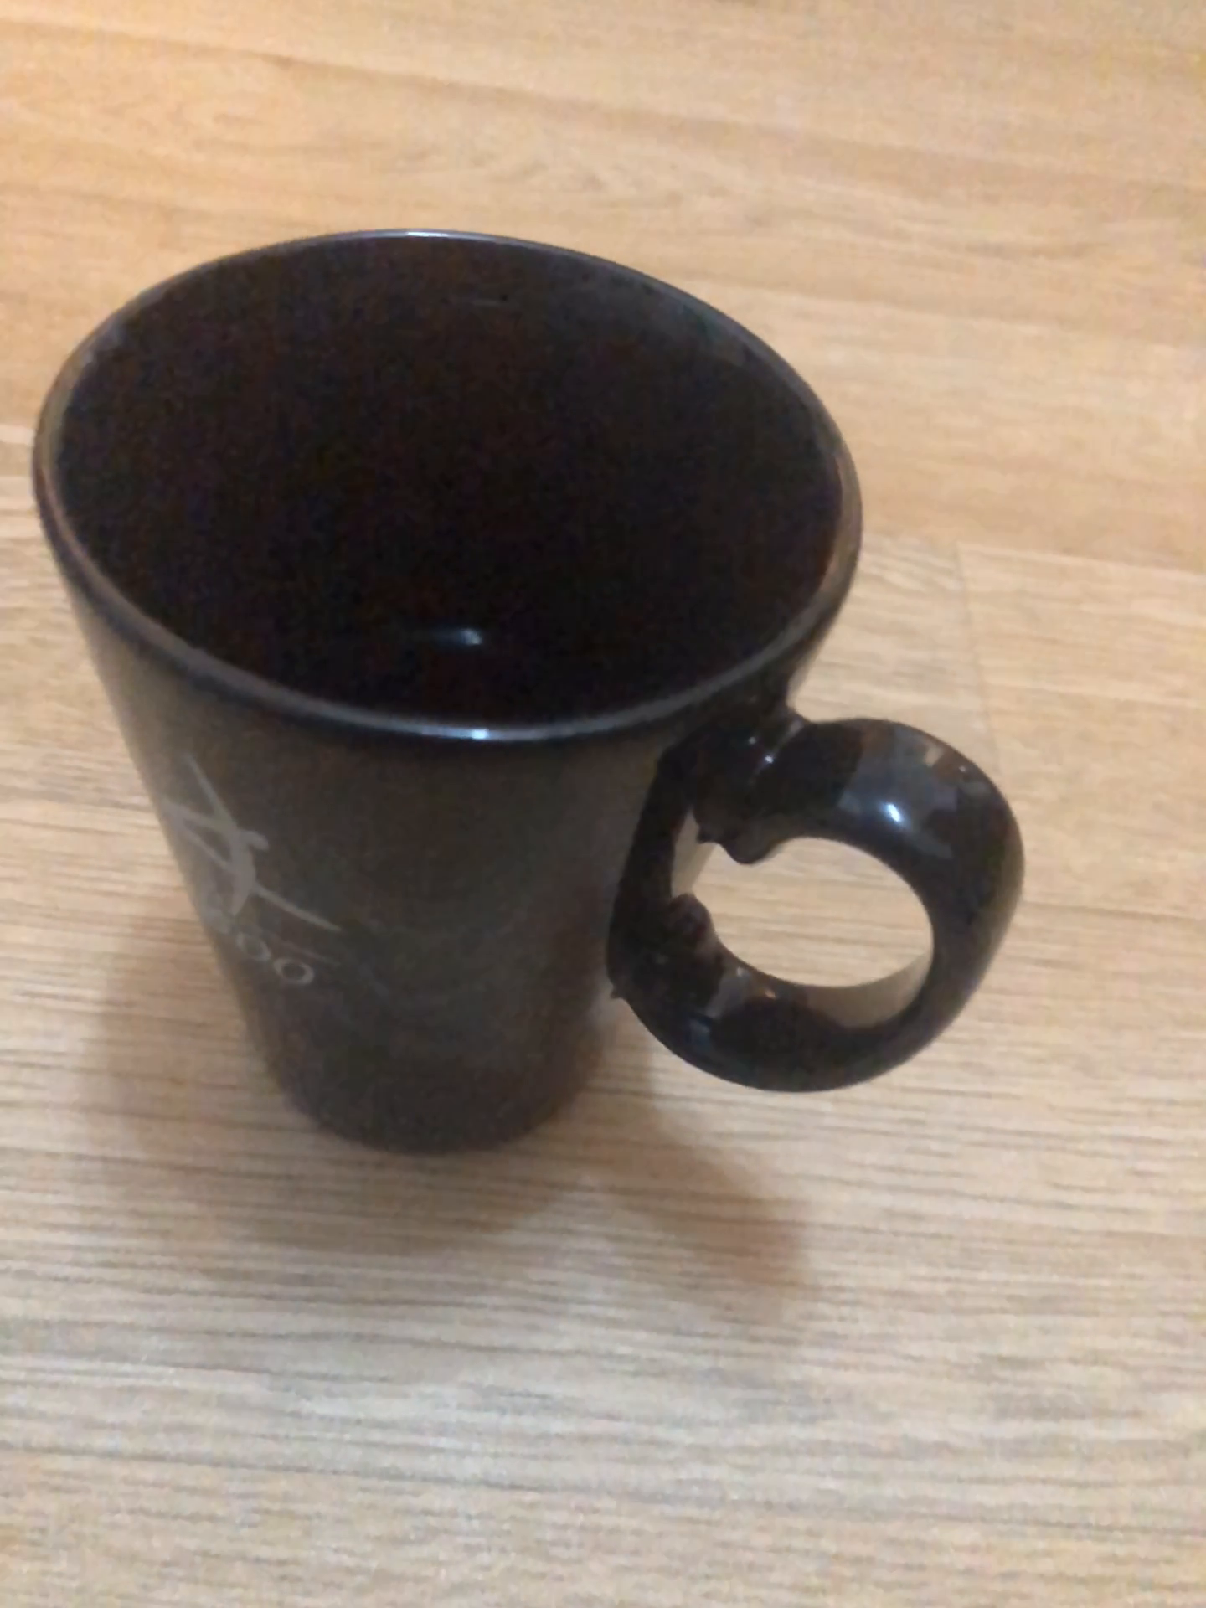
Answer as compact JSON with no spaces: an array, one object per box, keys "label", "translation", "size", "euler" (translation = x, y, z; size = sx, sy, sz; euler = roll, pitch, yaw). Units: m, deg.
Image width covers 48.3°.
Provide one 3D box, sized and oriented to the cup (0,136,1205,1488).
[{"label":"cup","translation":[-0.004,-0.004,0.169],"size":[0.120,0.089,0.090],"euler":[30,52,16]}]
